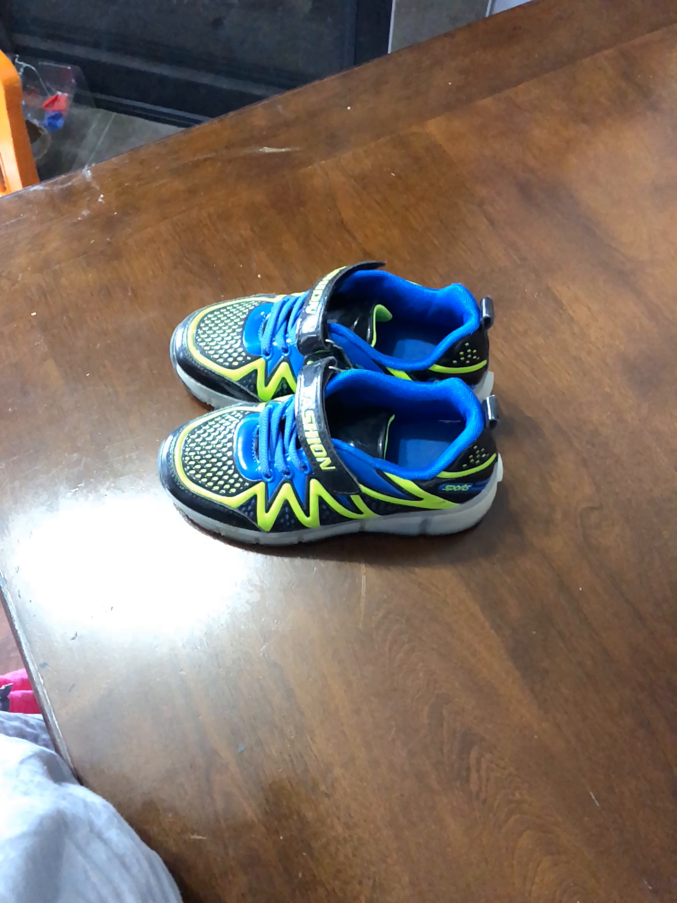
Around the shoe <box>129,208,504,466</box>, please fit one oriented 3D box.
[{"bbox_3d":[-0.010,-0.070,0.495,0.210,0.120,0.100,6,66,1],"label":"shoe"}]

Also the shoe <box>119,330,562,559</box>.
[{"bbox_3d":[-0.001,0.001,0.461,0.230,0.120,0.090,-2,66,-2],"label":"shoe"}]
